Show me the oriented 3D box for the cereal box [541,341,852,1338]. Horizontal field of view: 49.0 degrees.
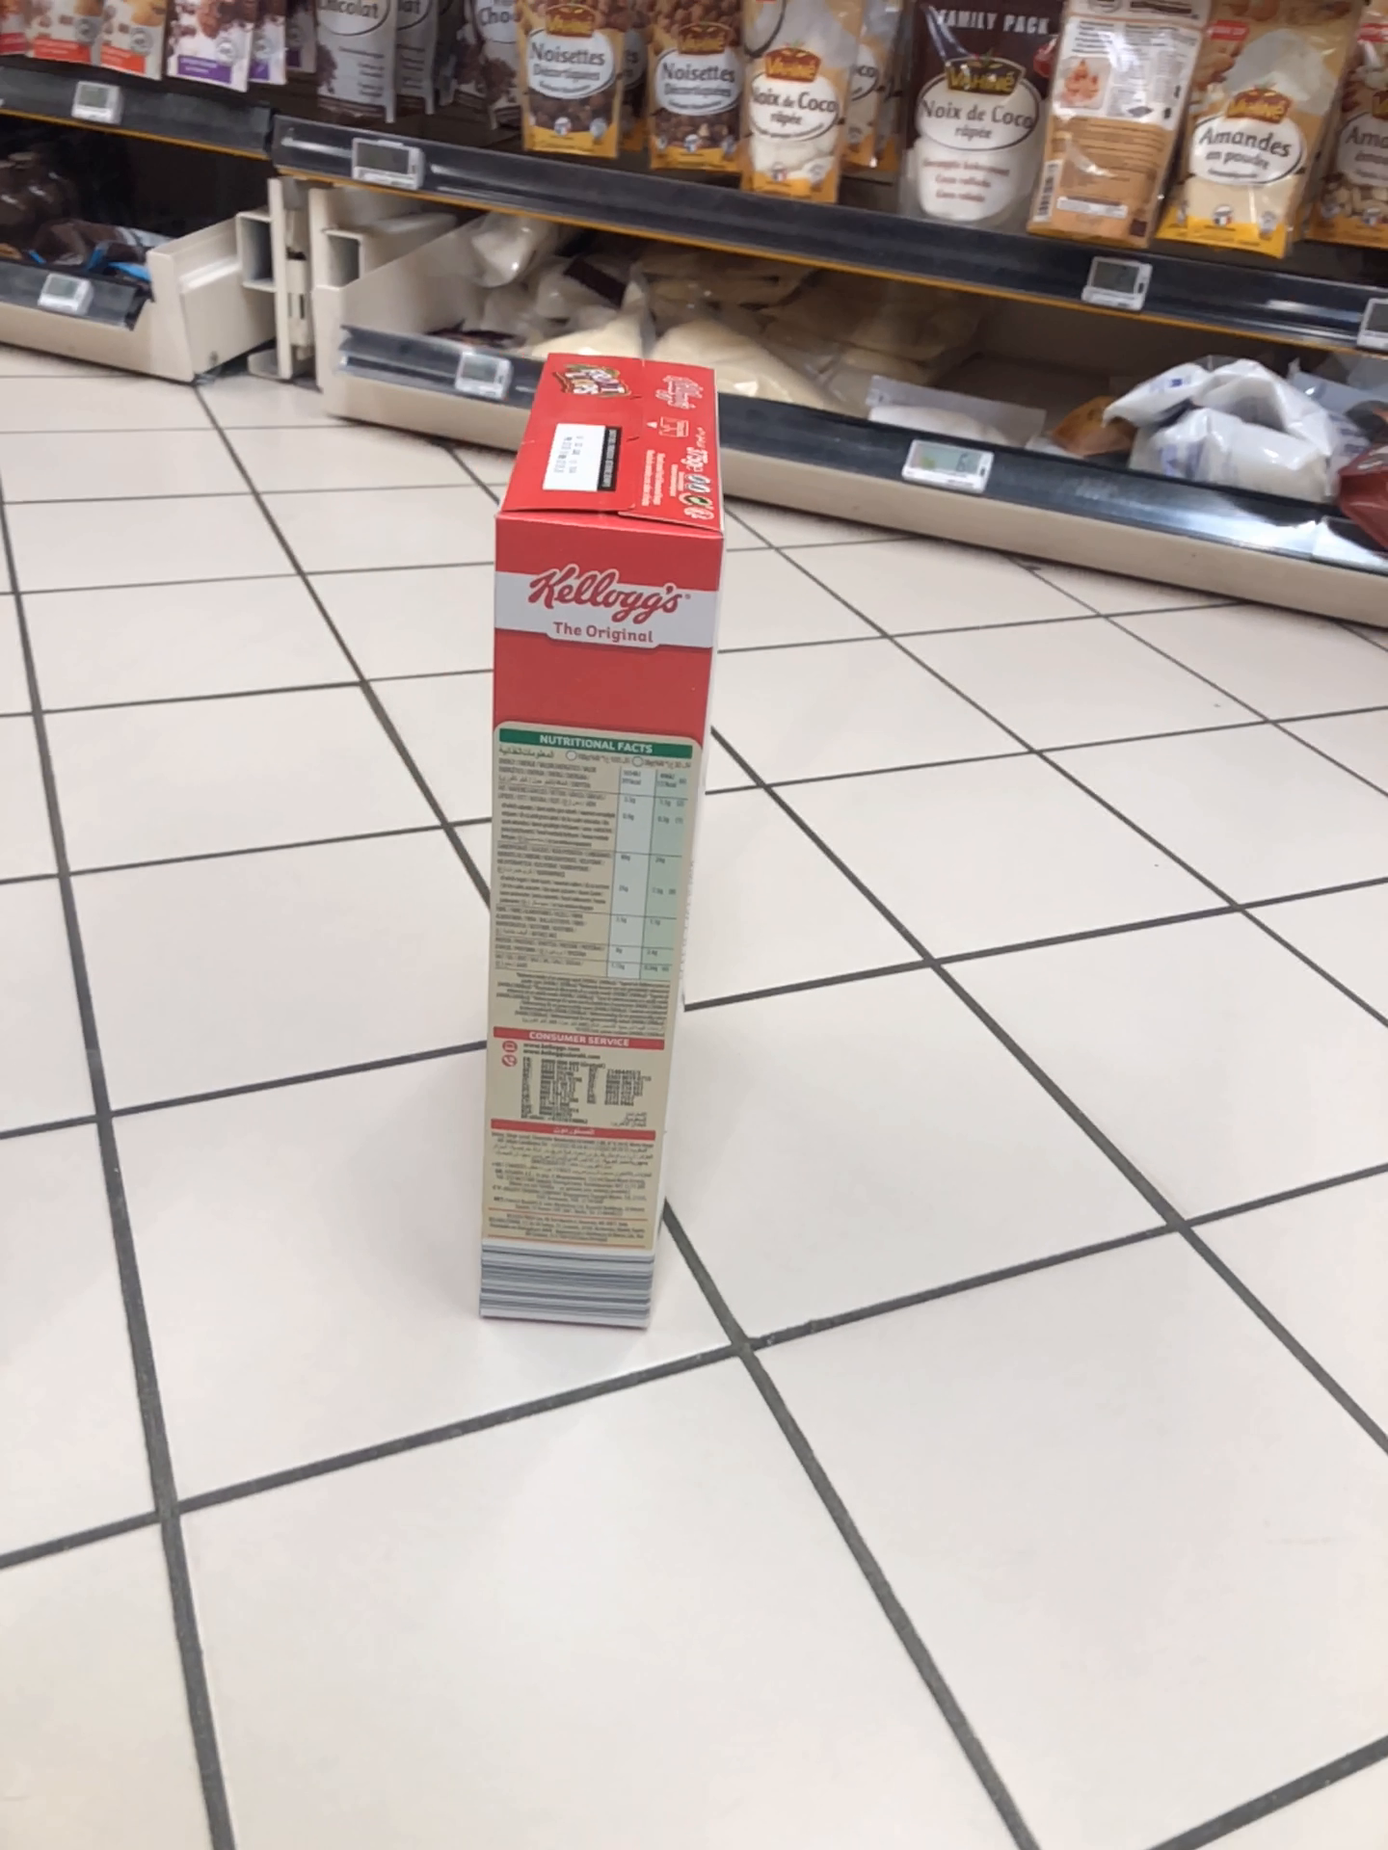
[{"bbox_3d":[-0.005,-0.033,0.557,0.070,0.298,0.201,5,32,-2],"label":"cereal box"}]
